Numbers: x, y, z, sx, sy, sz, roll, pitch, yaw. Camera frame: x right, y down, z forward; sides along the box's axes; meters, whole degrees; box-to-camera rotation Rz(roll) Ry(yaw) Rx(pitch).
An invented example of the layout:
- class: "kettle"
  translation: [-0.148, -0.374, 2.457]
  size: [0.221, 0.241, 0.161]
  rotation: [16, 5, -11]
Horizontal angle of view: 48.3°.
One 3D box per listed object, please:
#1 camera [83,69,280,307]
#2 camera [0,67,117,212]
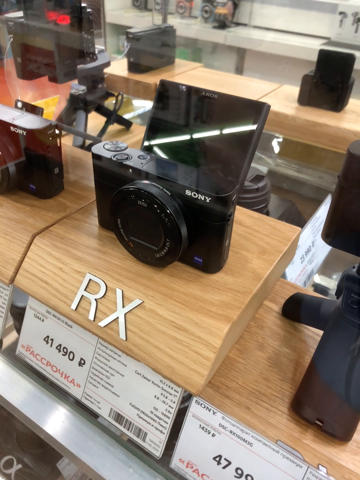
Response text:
- class: "camera"
  translation: [-0.003, -0.035, 0.261]
  size: [0.100, 0.119, 0.050]
  rotation: [23, 40, 25]
- class: "camera"
  translation: [-0.124, -0.089, 0.329]
  size: [0.101, 0.067, 0.097]
  rotation: [23, 40, 25]
